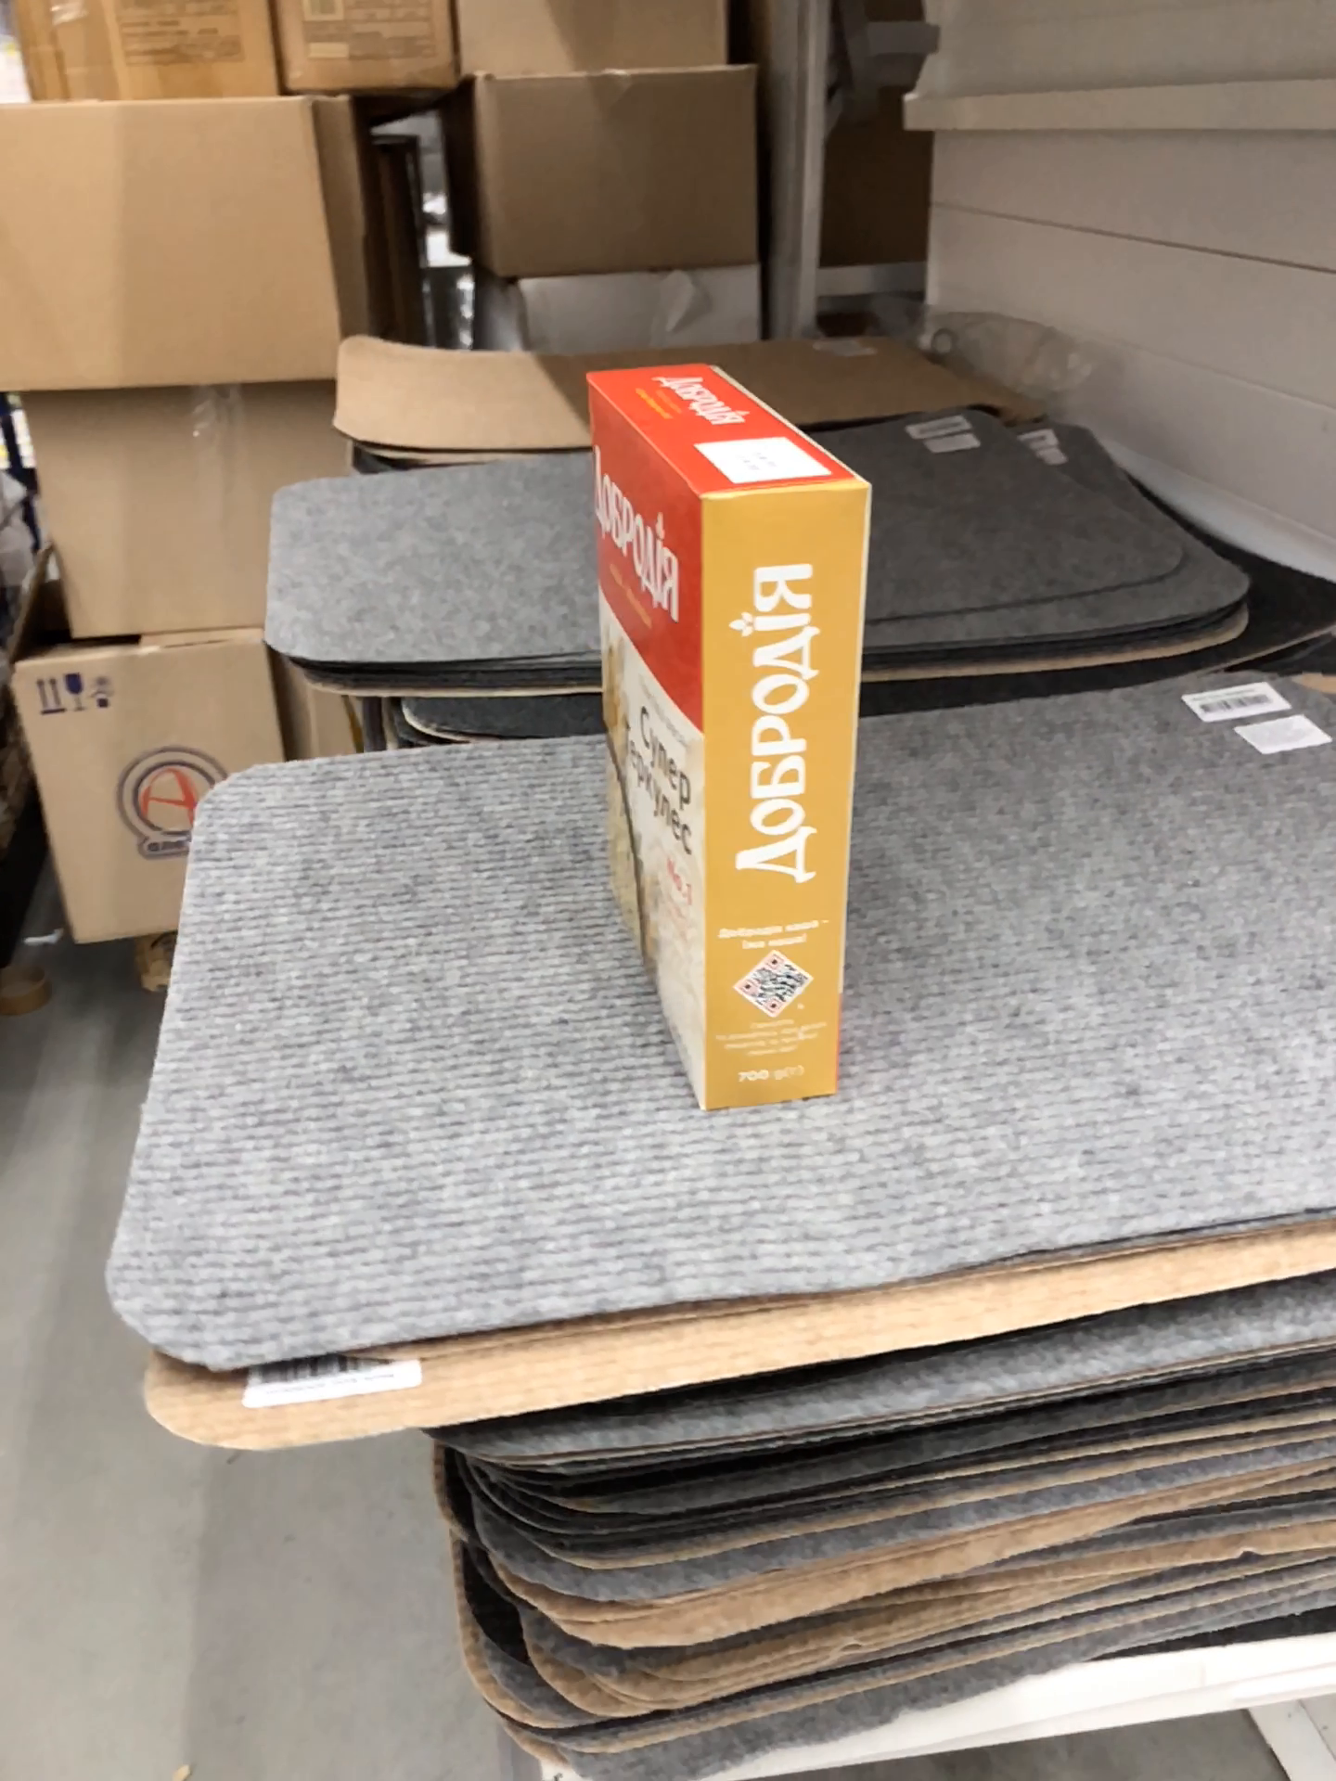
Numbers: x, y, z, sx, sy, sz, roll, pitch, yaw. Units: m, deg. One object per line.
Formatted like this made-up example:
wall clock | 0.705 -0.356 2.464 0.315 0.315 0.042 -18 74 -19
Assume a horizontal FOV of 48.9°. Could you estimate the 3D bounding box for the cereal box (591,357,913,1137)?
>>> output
cereal box | 0.022 -0.060 0.546 0.060 0.228 0.181 -7 31 -11
